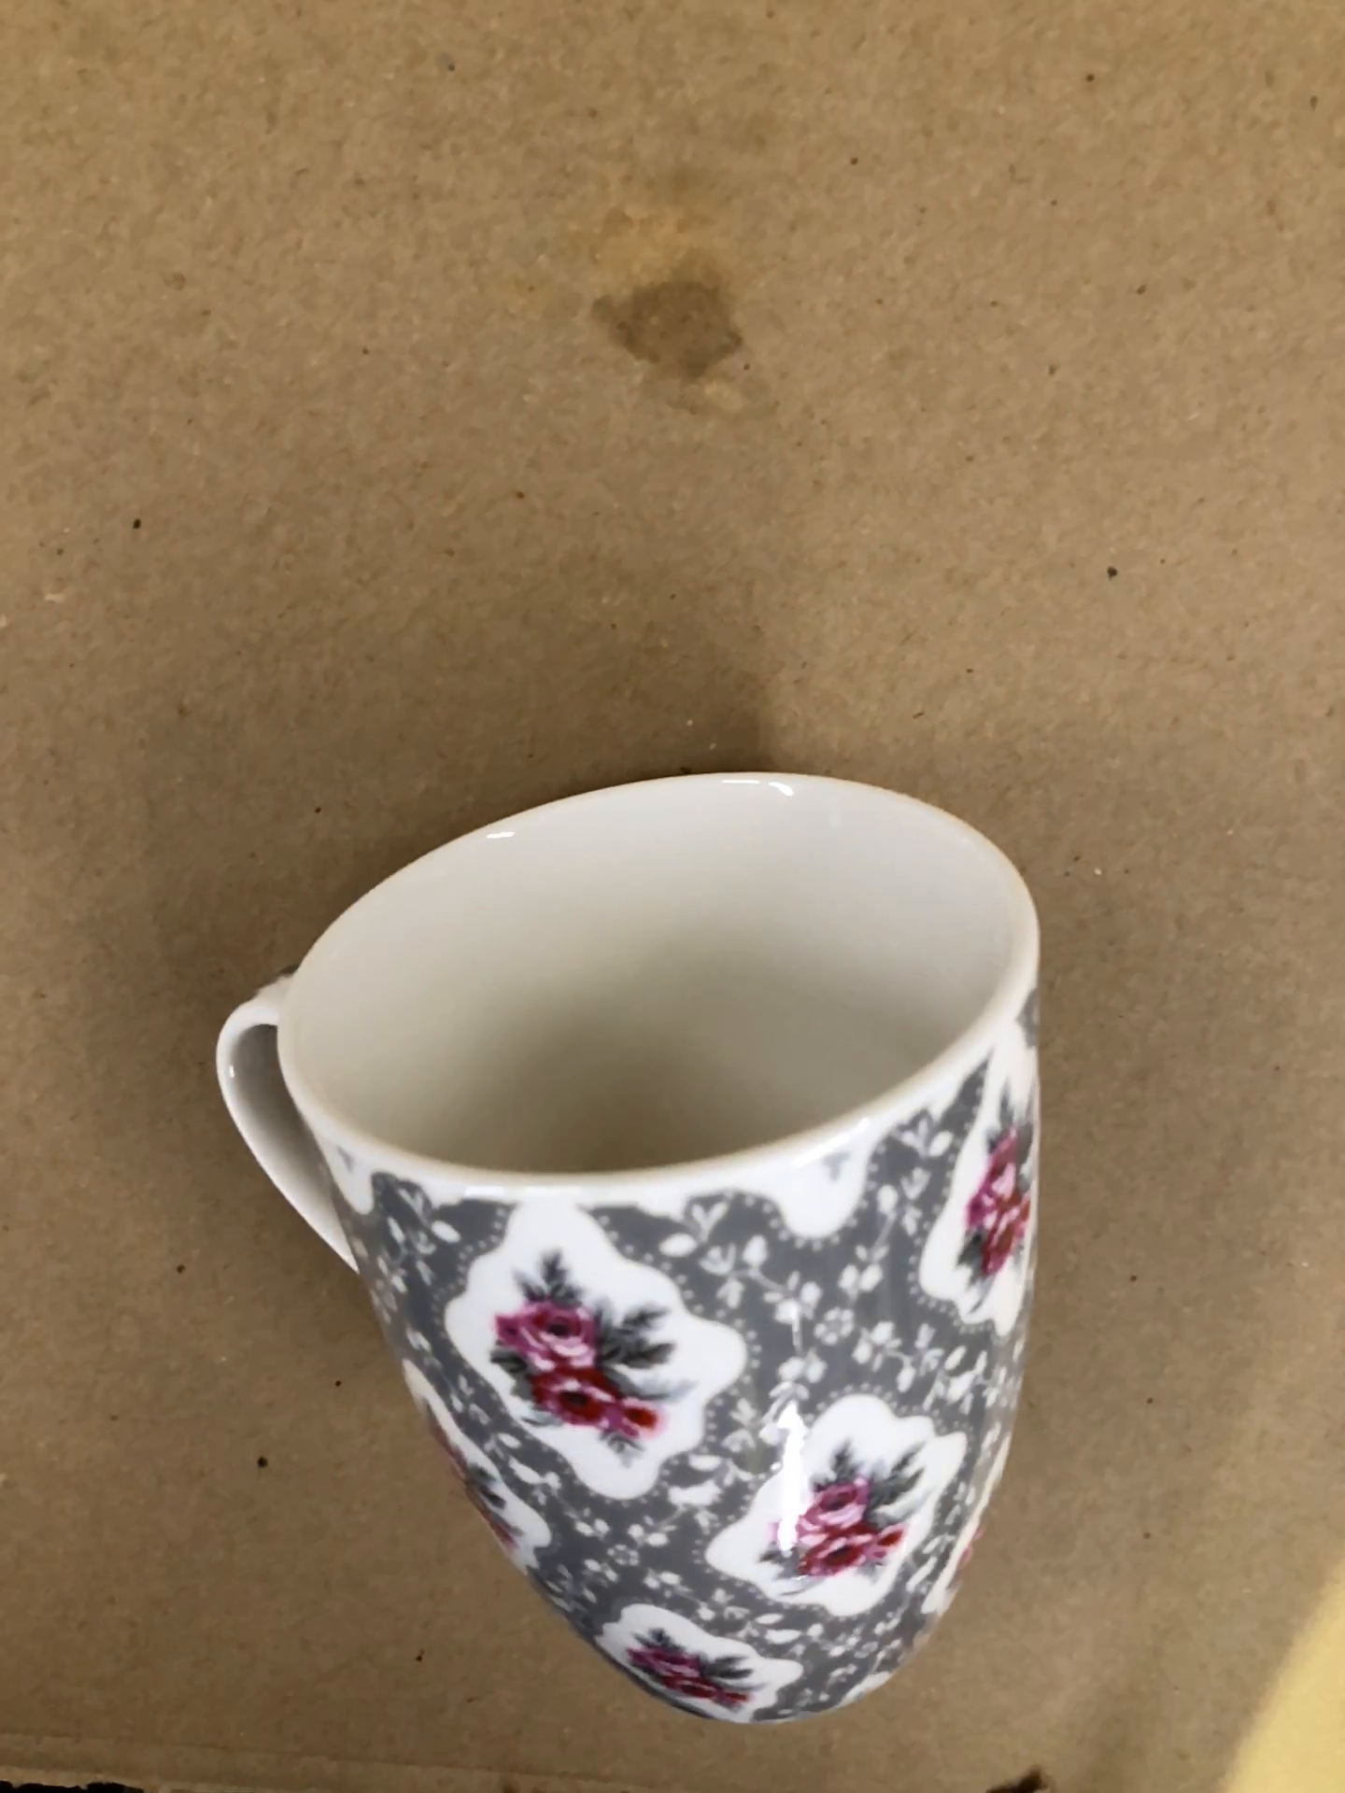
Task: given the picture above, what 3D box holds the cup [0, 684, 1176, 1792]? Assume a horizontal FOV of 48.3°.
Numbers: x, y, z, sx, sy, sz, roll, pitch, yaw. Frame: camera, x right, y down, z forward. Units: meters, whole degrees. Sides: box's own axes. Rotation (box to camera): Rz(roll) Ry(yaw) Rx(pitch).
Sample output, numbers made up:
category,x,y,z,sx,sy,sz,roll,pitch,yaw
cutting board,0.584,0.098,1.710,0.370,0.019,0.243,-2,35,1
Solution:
category,x,y,z,sx,sy,sz,roll,pitch,yaw
cup,-0.005,0.045,0.172,0.100,0.080,0.110,9,123,30
